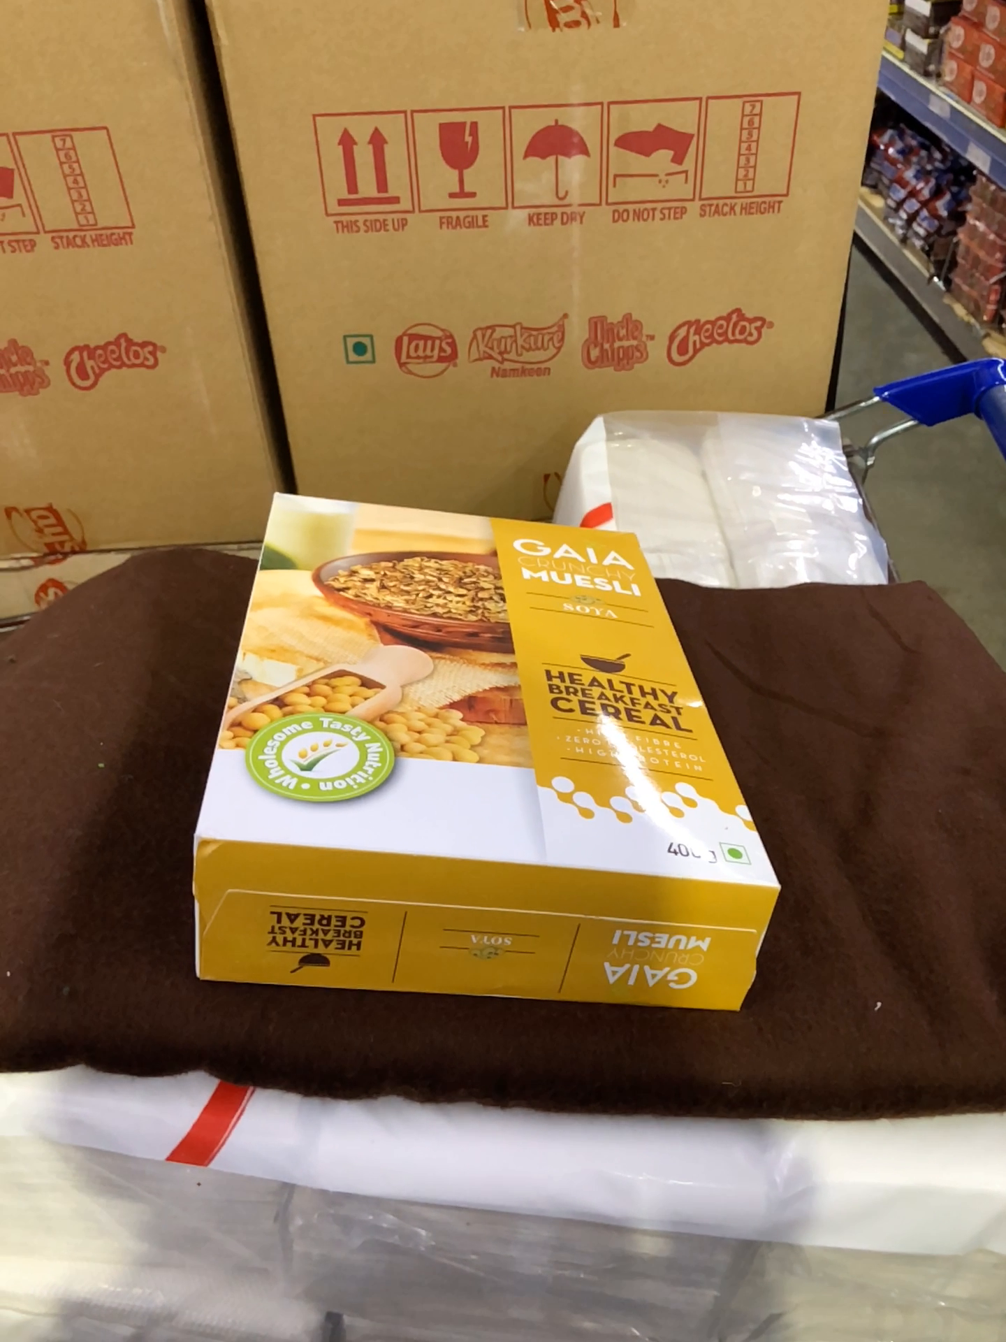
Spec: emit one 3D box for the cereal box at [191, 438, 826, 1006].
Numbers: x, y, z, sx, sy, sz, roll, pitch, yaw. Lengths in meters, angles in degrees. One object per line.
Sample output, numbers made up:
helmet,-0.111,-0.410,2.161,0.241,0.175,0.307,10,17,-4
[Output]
cereal box,-0.008,0.001,0.409,0.170,0.060,0.242,5,34,-9
